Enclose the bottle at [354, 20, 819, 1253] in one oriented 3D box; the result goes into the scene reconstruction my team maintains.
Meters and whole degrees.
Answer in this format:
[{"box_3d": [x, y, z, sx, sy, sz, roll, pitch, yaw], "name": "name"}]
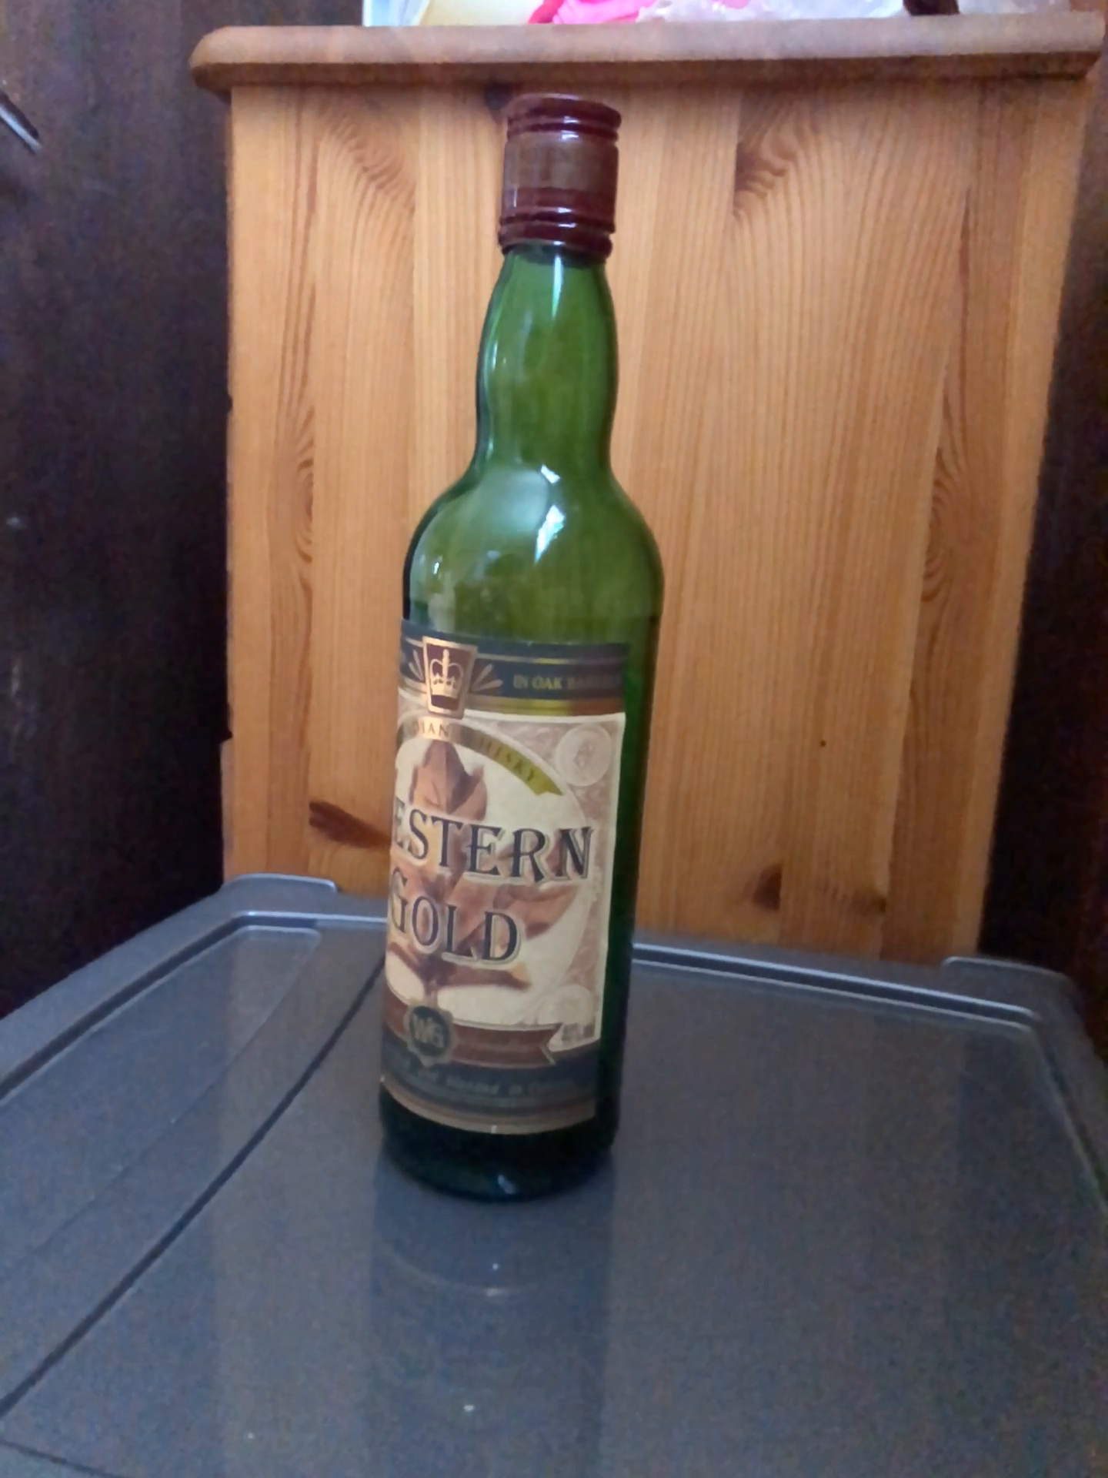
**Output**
[{"box_3d": [0.004, -0.022, 0.350, 0.080, 0.299, 0.080, 4, 12, -1], "name": "bottle"}]
